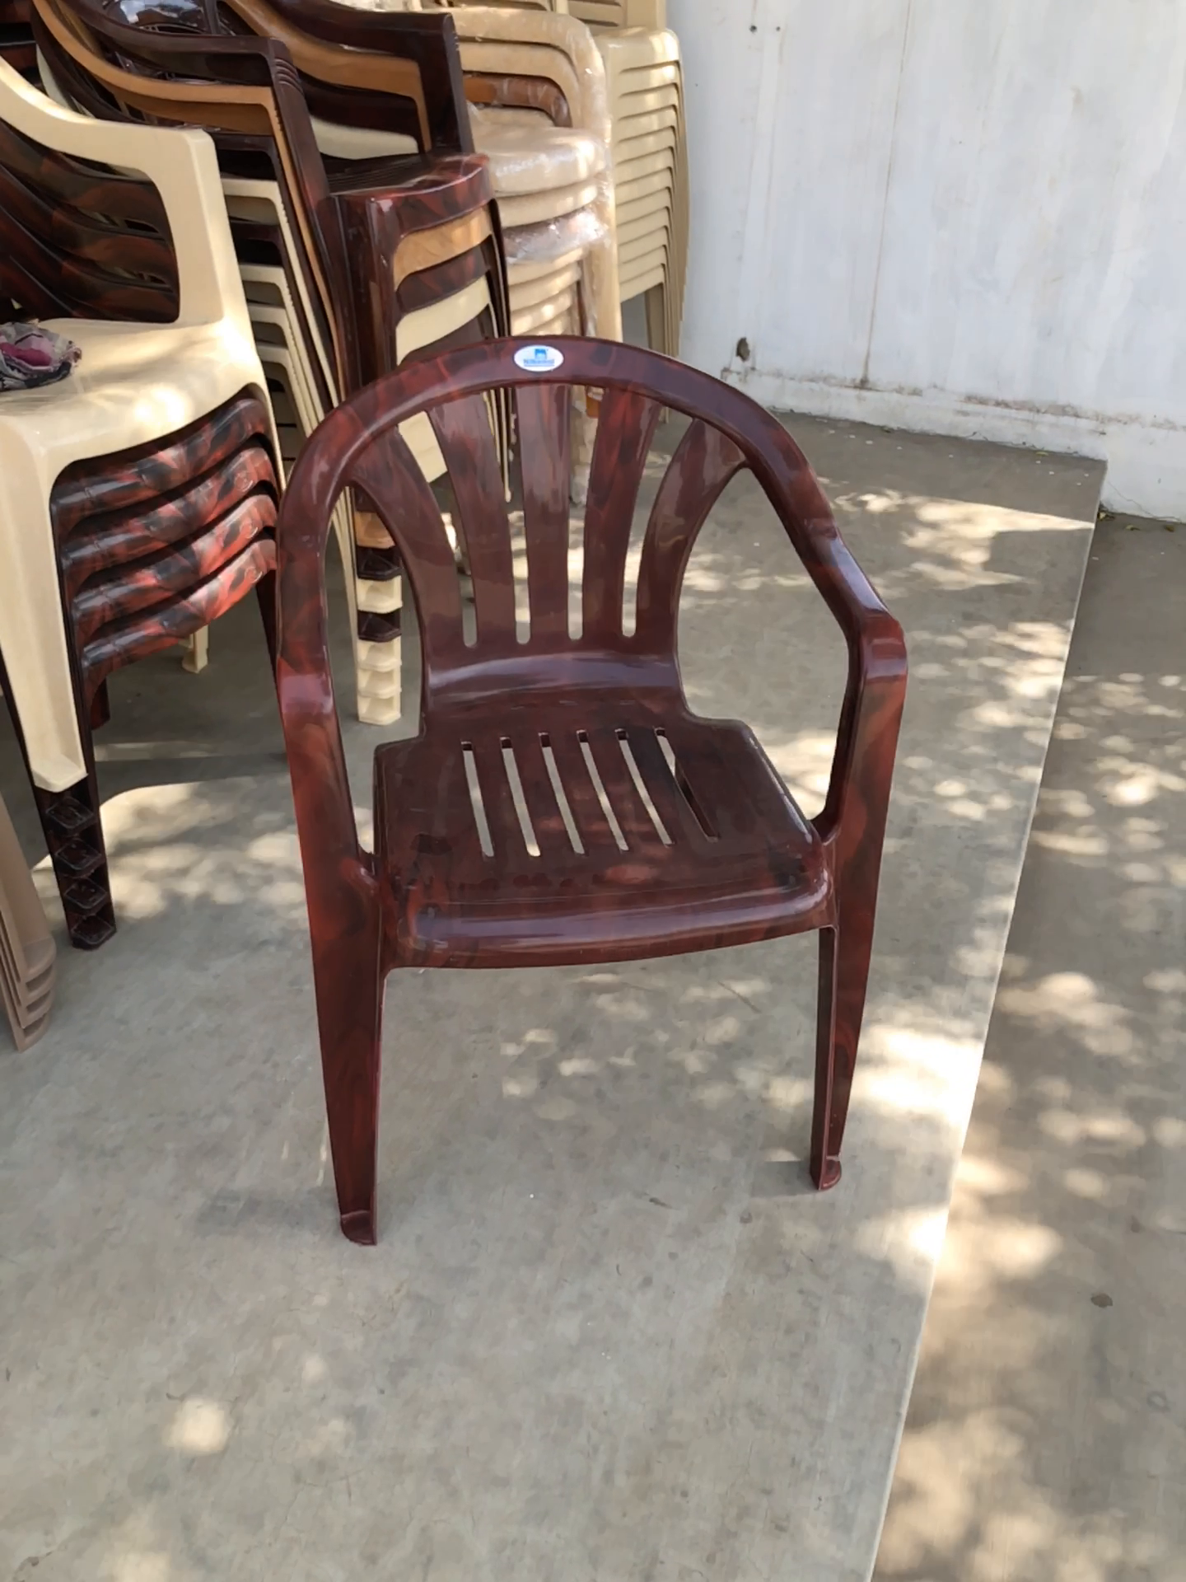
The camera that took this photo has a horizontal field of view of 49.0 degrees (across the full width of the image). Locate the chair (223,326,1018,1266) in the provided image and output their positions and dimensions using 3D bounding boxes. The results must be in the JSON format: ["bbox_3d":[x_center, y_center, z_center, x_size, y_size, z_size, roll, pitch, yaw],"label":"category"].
[{"bbox_3d":[-0.019,-0.013,1.354,0.581,0.766,0.522,-5,34,-9],"label":"chair"}]
